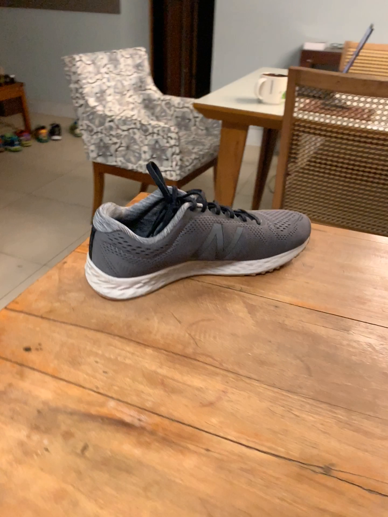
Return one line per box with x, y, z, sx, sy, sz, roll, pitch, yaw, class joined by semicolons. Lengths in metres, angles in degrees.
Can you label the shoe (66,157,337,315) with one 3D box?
0.009;-0.041;0.499;0.300;0.109;0.111;-11;35;-20;shoe
